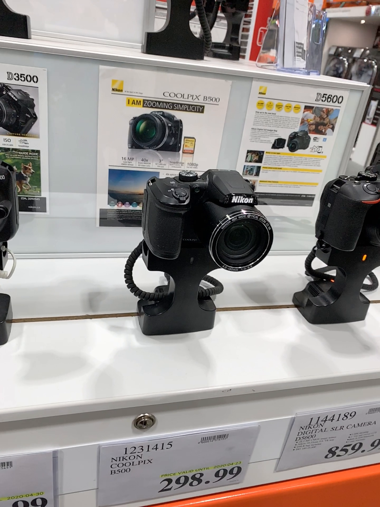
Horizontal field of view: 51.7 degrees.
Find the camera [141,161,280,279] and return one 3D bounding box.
[{"bbox_3d":[0.015,-0.035,0.388,0.110,0.089,0.070,-2,29,-18],"label":"camera"}]
